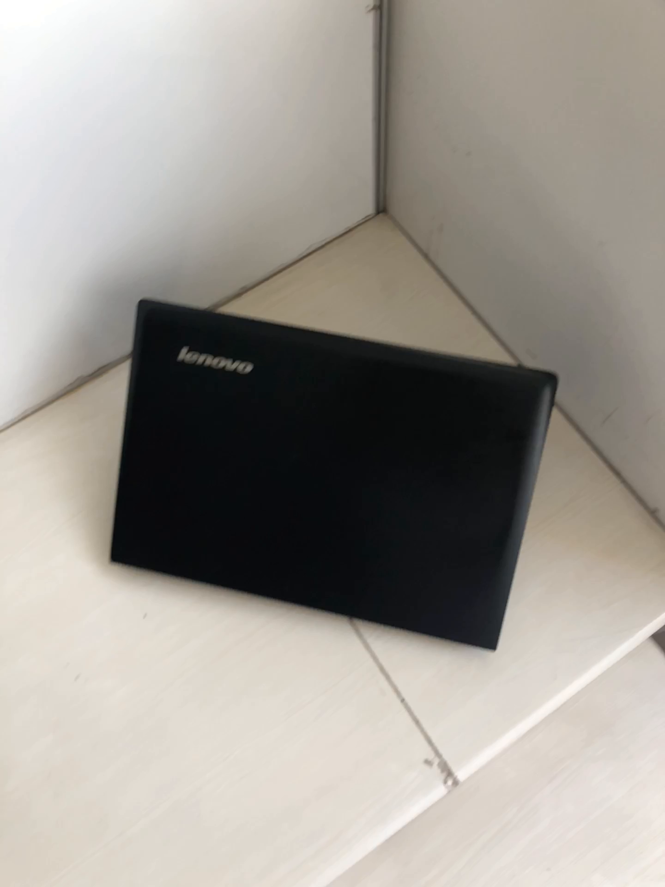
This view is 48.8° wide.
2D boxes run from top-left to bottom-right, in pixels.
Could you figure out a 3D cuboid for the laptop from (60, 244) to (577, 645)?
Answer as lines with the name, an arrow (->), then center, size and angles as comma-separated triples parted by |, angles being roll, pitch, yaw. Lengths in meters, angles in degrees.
laptop -> -0.004, 0.005, 0.677 | 0.374, 0.162, 0.253 | 12, 72, 7
